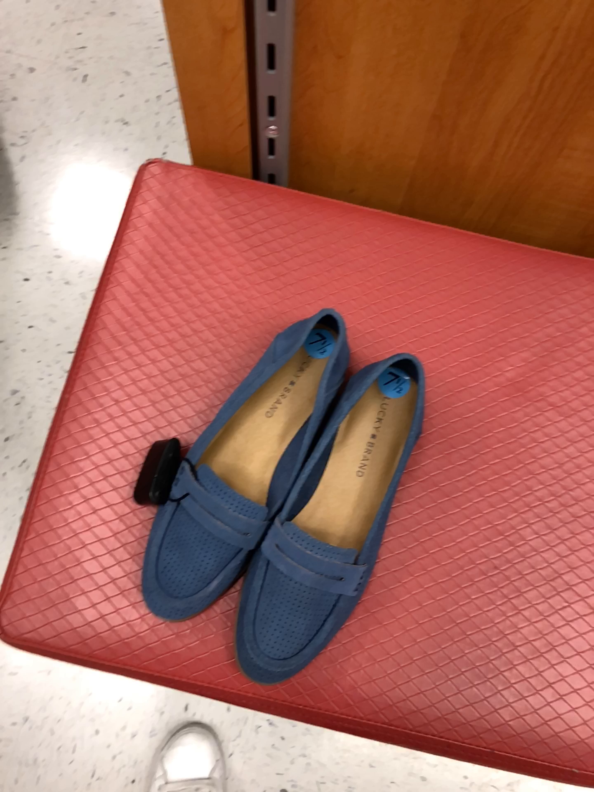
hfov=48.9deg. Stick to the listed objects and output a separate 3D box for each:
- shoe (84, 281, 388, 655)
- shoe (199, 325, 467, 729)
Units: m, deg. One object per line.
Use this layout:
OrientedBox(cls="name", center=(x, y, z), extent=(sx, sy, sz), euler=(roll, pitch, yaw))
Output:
OrientedBox(cls="shoe", center=(-0.037, 0.048, 0.481), extent=(0.082, 0.069, 0.253), euler=(31, 76, 6))
OrientedBox(cls="shoe", center=(0.029, 0.087, 0.477), extent=(0.085, 0.069, 0.258), euler=(25, 75, 5))
